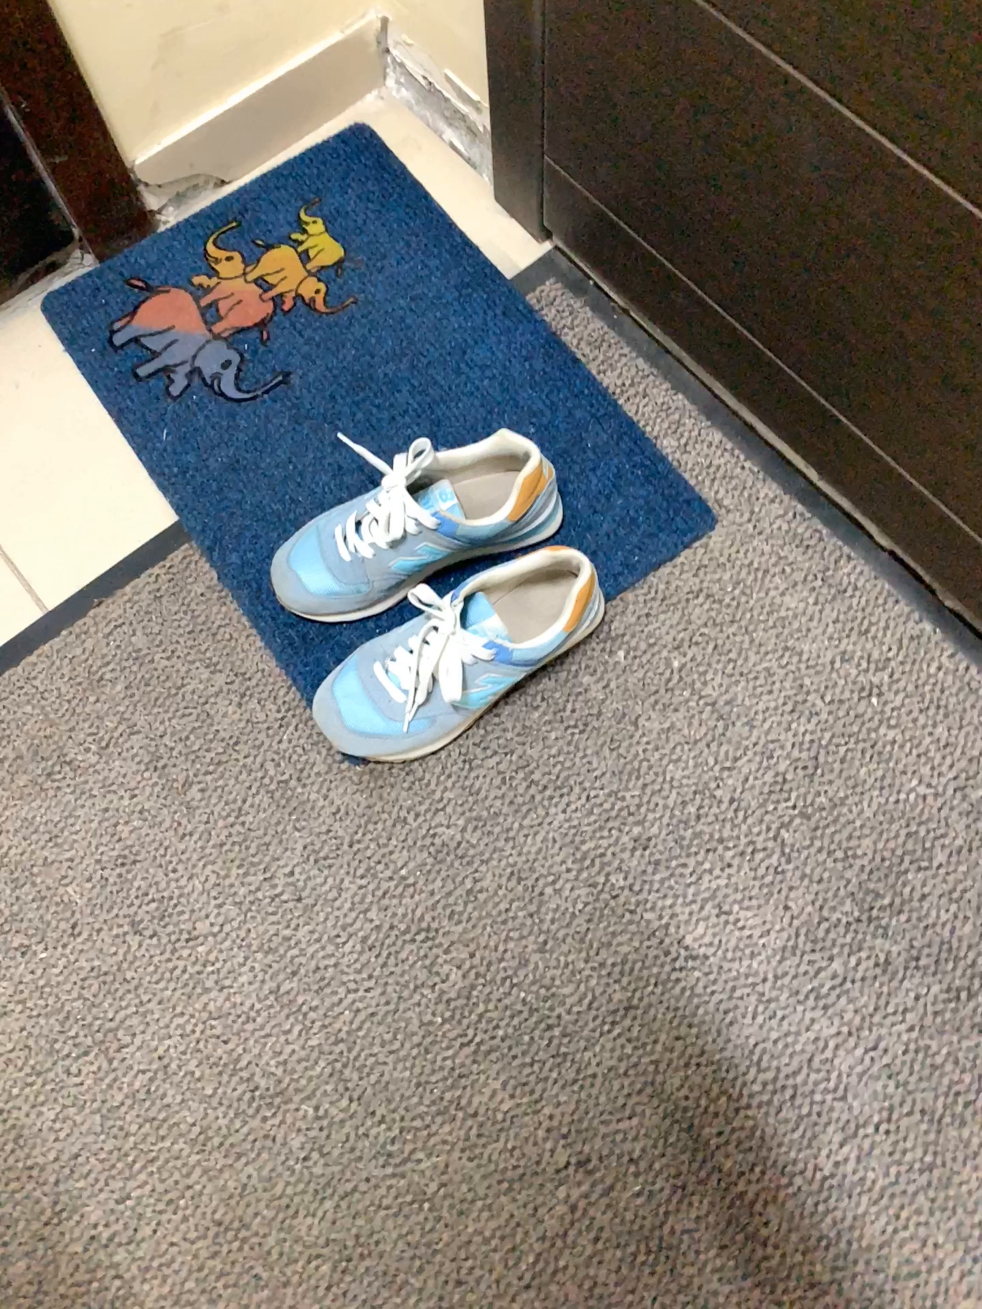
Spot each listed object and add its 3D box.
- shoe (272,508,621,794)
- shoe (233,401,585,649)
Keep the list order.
[{"bbox_3d":[-0.030,0.001,0.806,0.250,0.120,0.090,-27,69,-7],"label":"shoe"},{"bbox_3d":[-0.063,-0.103,0.840,0.260,0.140,0.080,-20,76,-5],"label":"shoe"}]
